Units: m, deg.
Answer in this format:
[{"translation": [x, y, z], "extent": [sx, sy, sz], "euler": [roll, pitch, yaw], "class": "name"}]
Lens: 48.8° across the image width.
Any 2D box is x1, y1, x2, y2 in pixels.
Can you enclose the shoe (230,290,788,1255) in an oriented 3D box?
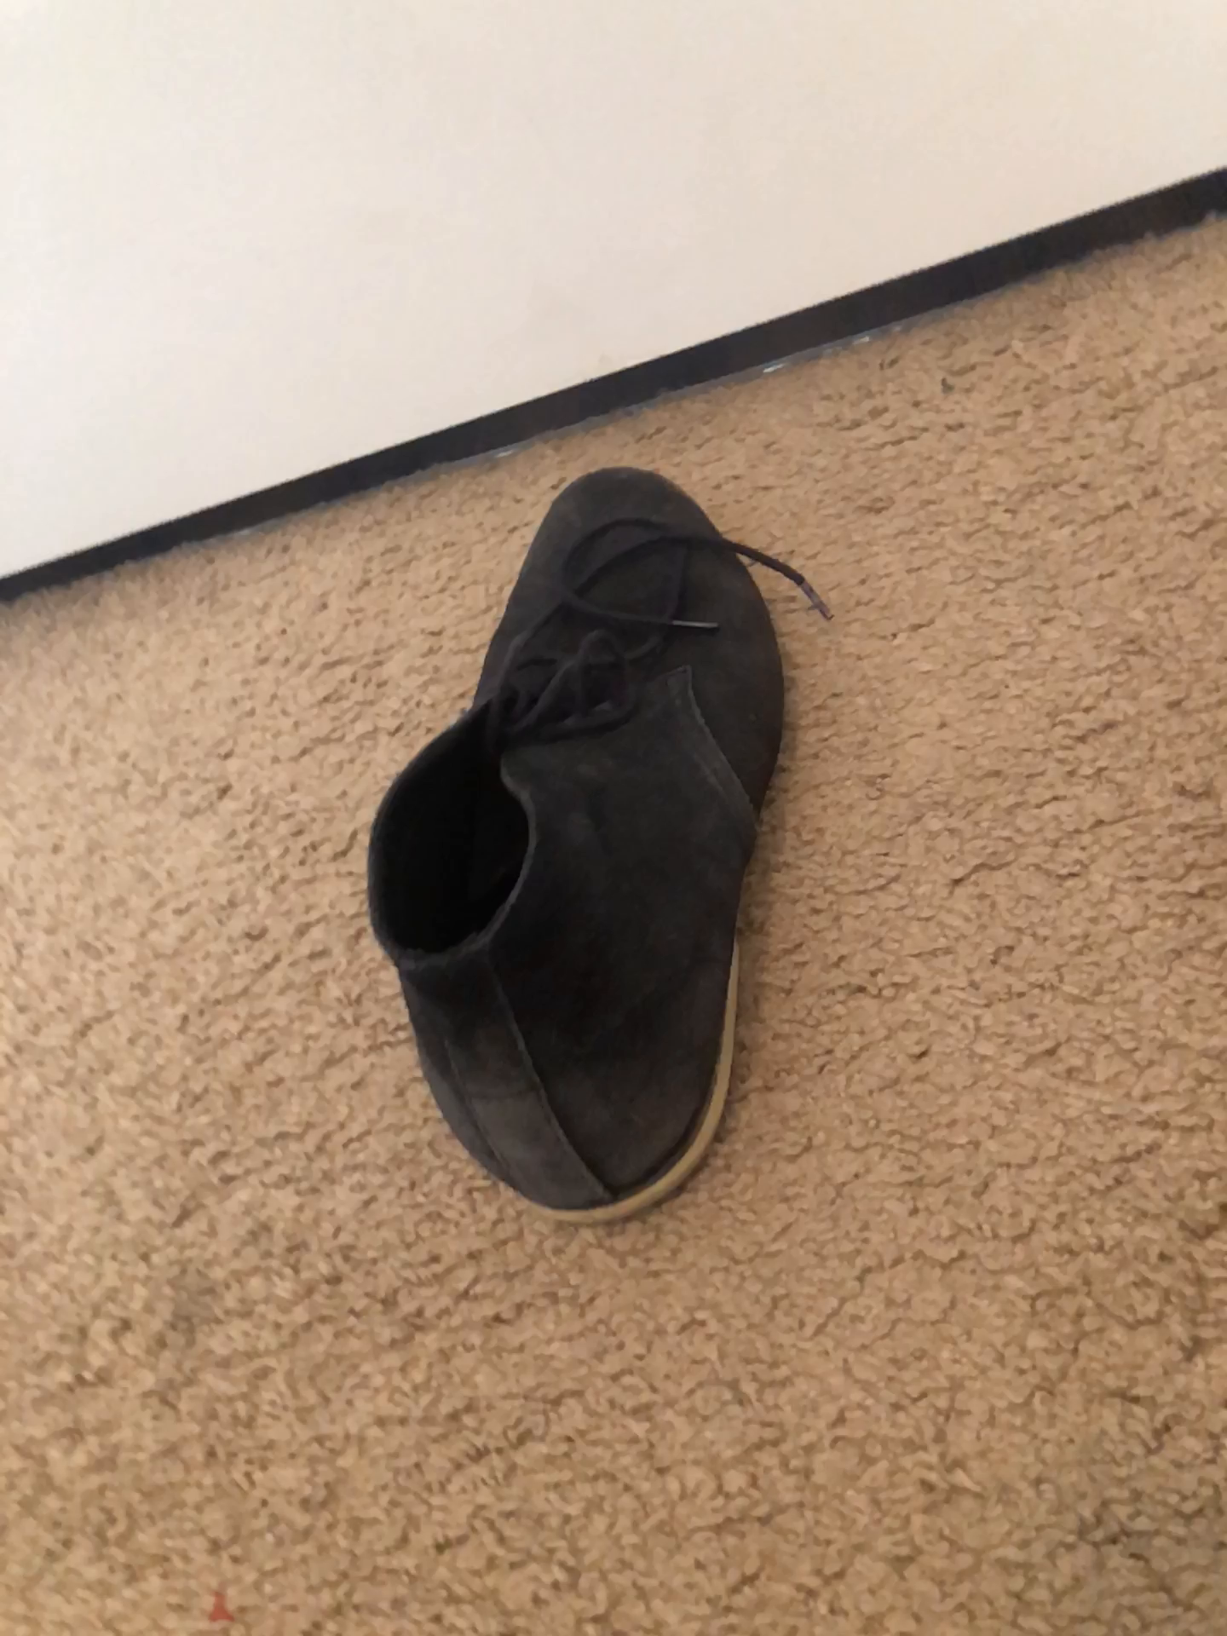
[{"translation": [-0.011, -0.026, 0.409], "extent": [0.103, 0.095, 0.279], "euler": [-10, 50, 20], "class": "shoe"}]
